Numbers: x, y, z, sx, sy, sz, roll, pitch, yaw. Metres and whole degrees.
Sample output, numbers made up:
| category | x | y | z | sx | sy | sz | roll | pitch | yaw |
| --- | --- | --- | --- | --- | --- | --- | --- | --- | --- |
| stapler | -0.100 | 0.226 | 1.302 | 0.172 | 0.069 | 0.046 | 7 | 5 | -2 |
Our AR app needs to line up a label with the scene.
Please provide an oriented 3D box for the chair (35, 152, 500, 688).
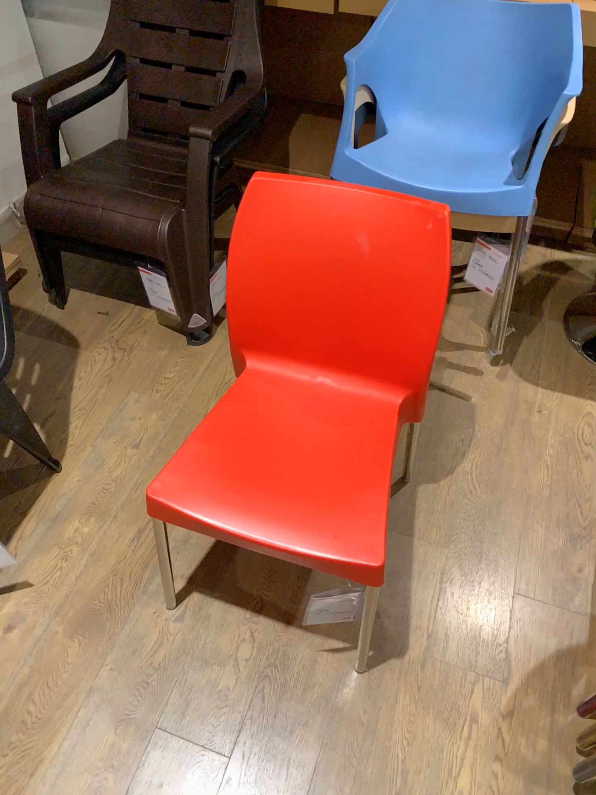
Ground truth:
| category | x | y | z | sx | sy | sz | roll | pitch | yaw |
| --- | --- | --- | --- | --- | --- | --- | --- | --- | --- |
| chair | 0.005 | 0.074 | 1.193 | 0.520 | 0.788 | 0.592 | 13 | 51 | 11 |
